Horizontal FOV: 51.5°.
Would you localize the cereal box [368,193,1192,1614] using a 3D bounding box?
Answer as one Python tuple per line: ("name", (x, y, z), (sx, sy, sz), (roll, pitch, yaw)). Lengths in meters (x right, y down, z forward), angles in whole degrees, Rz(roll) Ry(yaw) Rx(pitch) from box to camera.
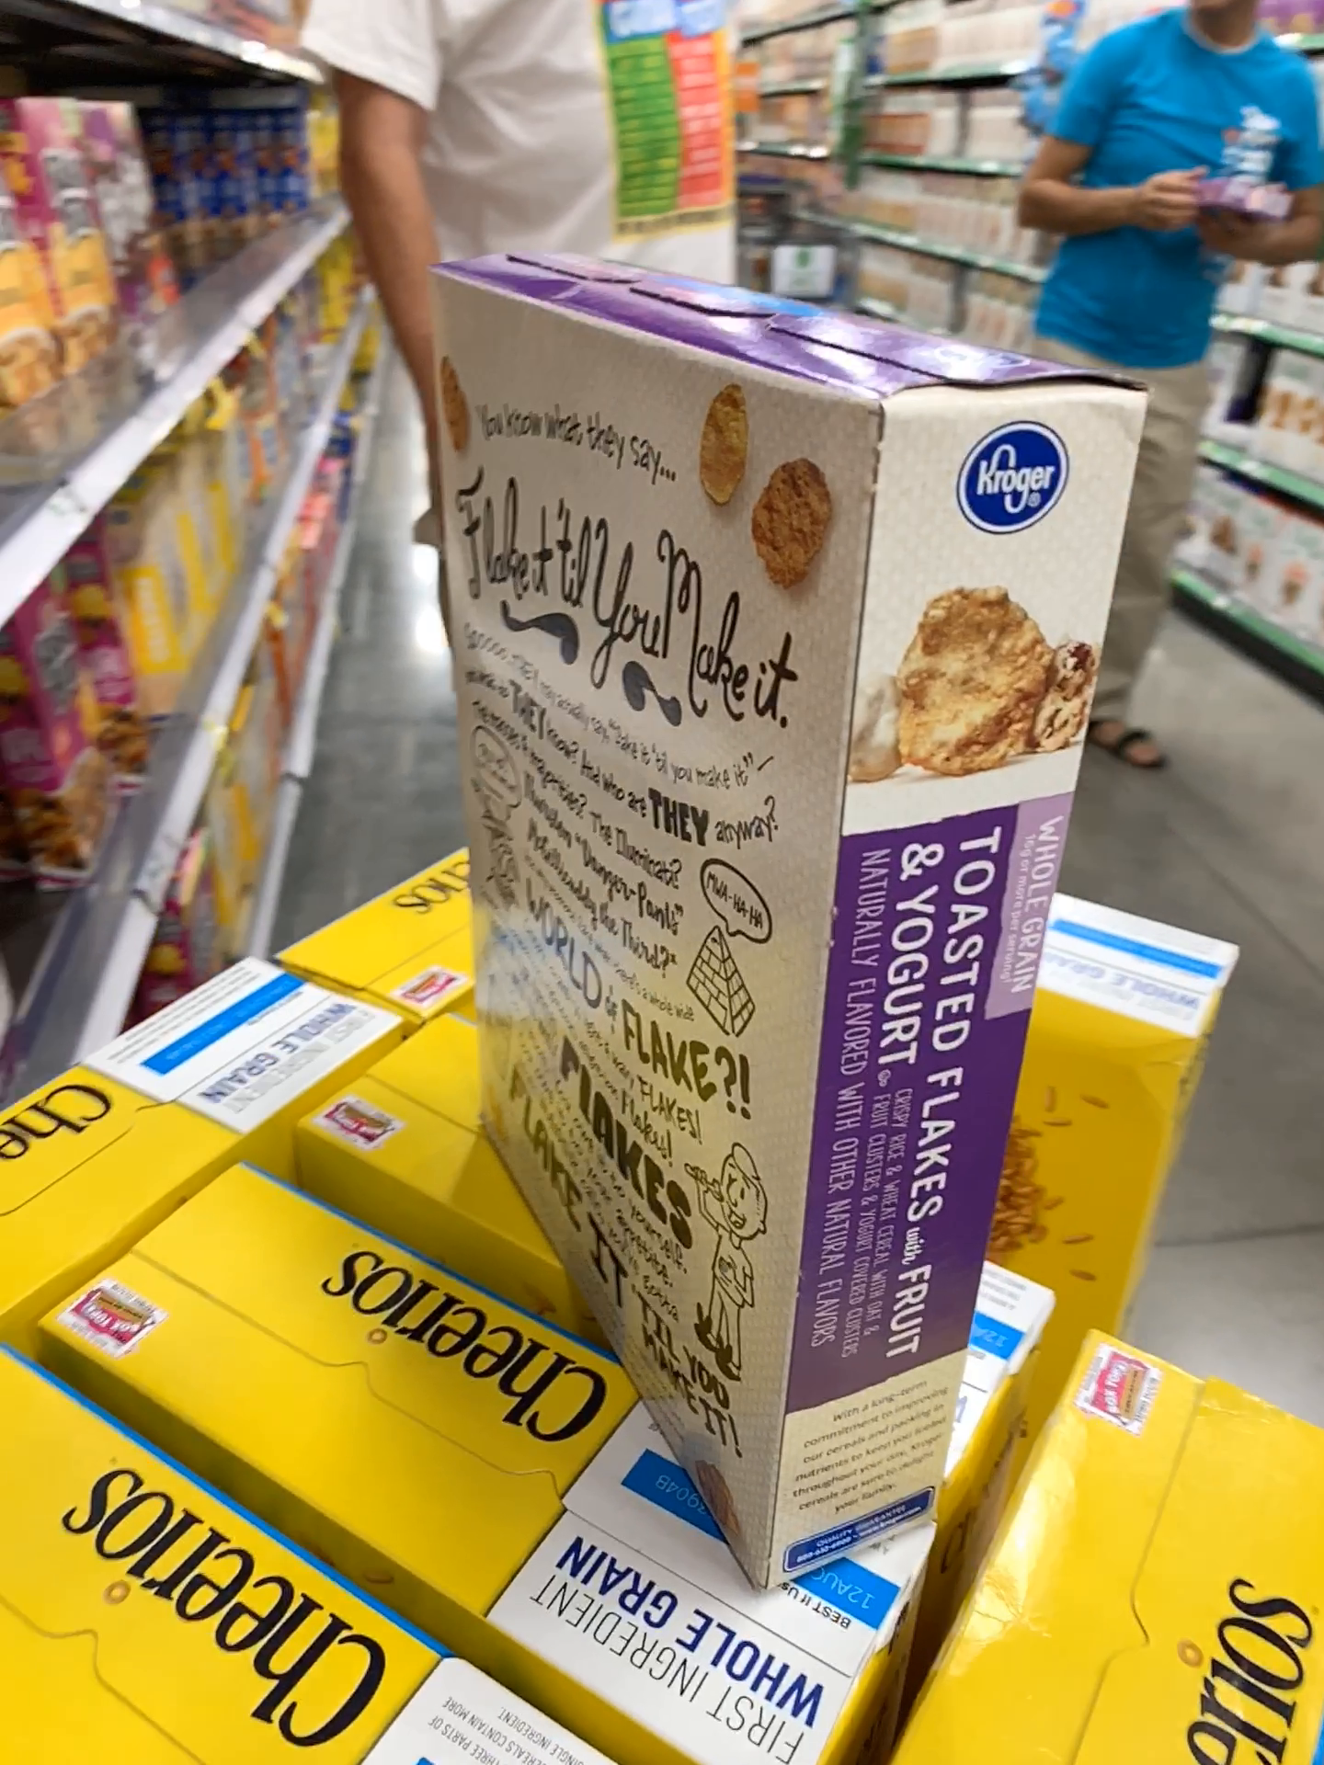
("cereal box", (-0.001, -0.008, 0.326), (0.060, 0.269, 0.201), (-13, 32, -25))
